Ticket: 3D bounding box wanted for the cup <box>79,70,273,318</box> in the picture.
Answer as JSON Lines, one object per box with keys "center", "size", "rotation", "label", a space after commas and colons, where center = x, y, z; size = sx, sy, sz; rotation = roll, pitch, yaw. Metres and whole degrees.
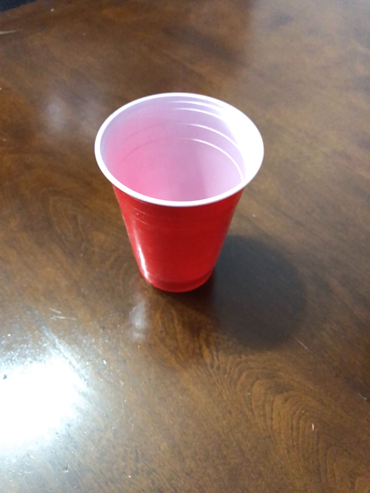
{"center": [-0.001, -0.029, 0.270], "size": [0.090, 0.120, 0.090], "rotation": [1, 51, -1], "label": "cup"}
